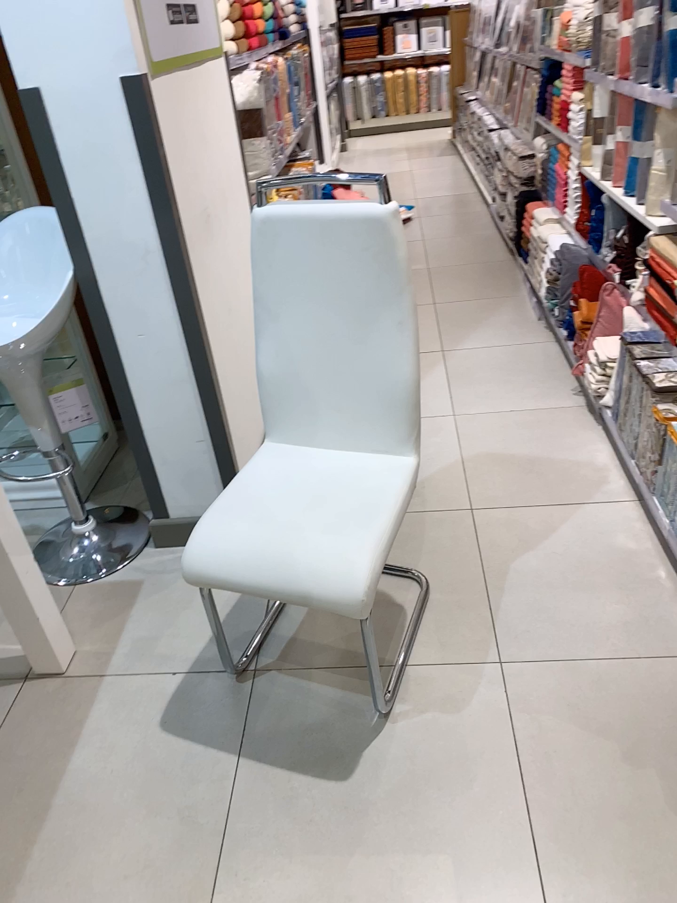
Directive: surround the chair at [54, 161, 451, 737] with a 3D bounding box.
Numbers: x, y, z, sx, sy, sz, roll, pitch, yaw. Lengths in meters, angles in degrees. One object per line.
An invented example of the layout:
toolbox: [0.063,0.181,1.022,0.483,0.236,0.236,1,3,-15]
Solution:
chair: [-0.073,-0.003,1.460,0.481,1.026,0.522,6,34,21]
